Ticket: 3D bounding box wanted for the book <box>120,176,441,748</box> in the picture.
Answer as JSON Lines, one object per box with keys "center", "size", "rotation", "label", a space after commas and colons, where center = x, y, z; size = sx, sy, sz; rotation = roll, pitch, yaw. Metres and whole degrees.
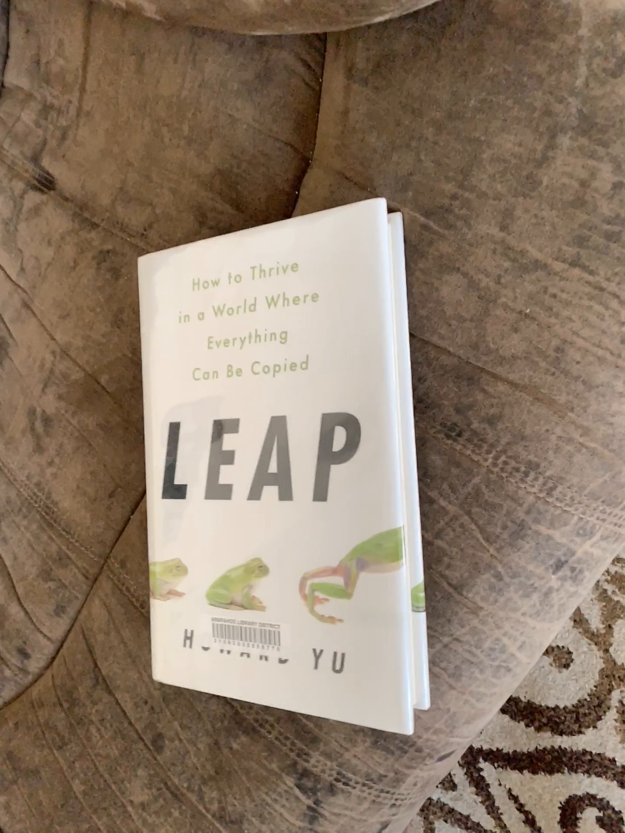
{"center": [-0.025, 0.022, 0.325], "size": [0.161, 0.040, 0.235], "rotation": [-5, 86, 33], "label": "book"}
